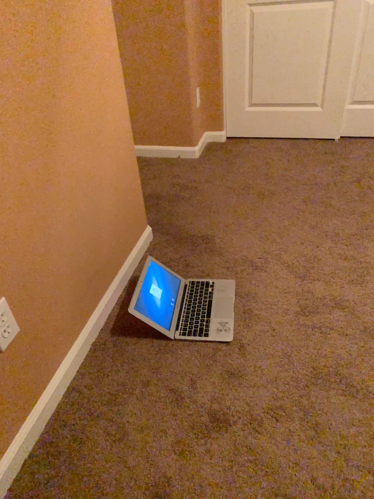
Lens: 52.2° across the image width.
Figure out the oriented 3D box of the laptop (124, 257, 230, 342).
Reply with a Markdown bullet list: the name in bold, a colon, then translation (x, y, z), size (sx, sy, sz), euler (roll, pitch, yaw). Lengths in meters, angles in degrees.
- **laptop**: translation (-0.016, 0.160, 1.324), size (0.324, 0.116, 0.300), euler (0, 34, 8)
